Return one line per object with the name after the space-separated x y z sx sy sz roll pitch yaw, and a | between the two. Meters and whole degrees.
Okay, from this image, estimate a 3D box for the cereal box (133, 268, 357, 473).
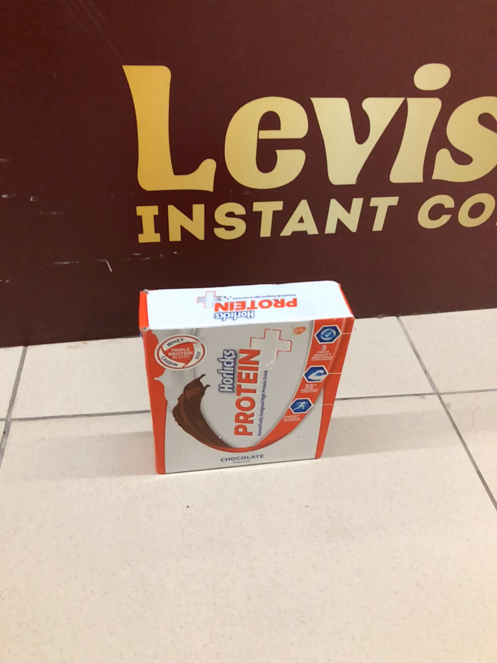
-0.007 0.033 0.406 0.140 0.149 0.050 -4 41 -9 | cereal box
